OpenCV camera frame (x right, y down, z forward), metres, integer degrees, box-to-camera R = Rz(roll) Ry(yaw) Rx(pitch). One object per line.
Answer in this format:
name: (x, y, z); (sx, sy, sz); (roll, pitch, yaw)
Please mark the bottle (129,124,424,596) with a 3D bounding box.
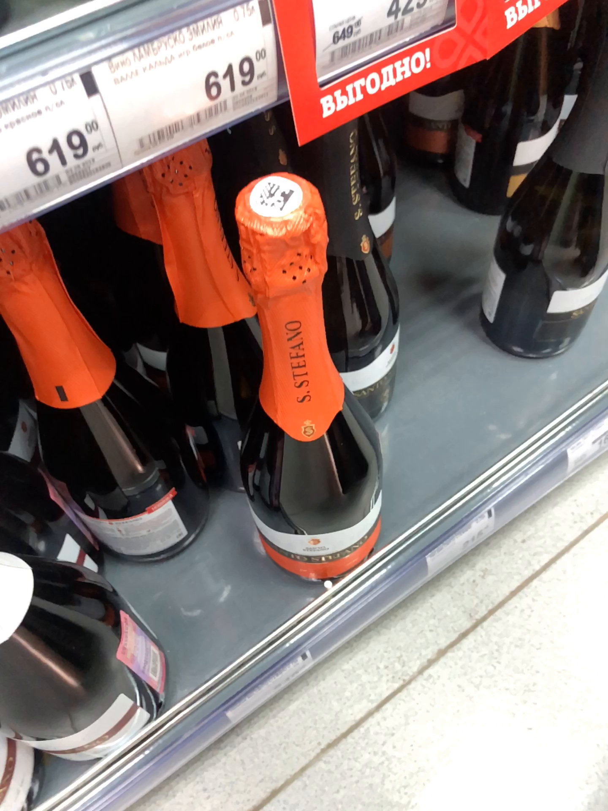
bottle: (0.001, 0.009, 0.379); (0.100, 0.299, 0.100); (-2, 56, 3)
